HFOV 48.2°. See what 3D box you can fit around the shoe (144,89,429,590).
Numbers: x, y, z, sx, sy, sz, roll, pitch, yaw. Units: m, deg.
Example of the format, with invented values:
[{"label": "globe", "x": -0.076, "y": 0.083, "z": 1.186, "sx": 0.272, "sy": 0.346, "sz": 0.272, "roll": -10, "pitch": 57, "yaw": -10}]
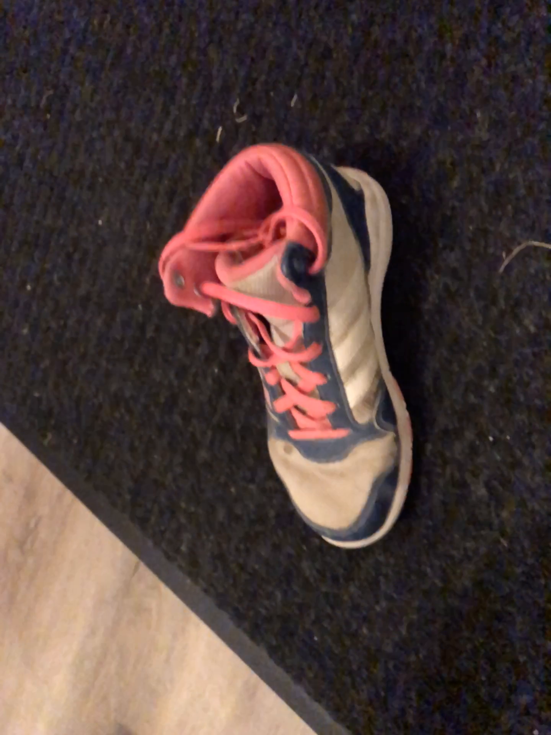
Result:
[{"label": "shoe", "x": 0.008, "y": -0.009, "z": 0.311, "sx": 0.090, "sy": 0.100, "sz": 0.200, "roll": -6, "pitch": 86, "yaw": 34}]
